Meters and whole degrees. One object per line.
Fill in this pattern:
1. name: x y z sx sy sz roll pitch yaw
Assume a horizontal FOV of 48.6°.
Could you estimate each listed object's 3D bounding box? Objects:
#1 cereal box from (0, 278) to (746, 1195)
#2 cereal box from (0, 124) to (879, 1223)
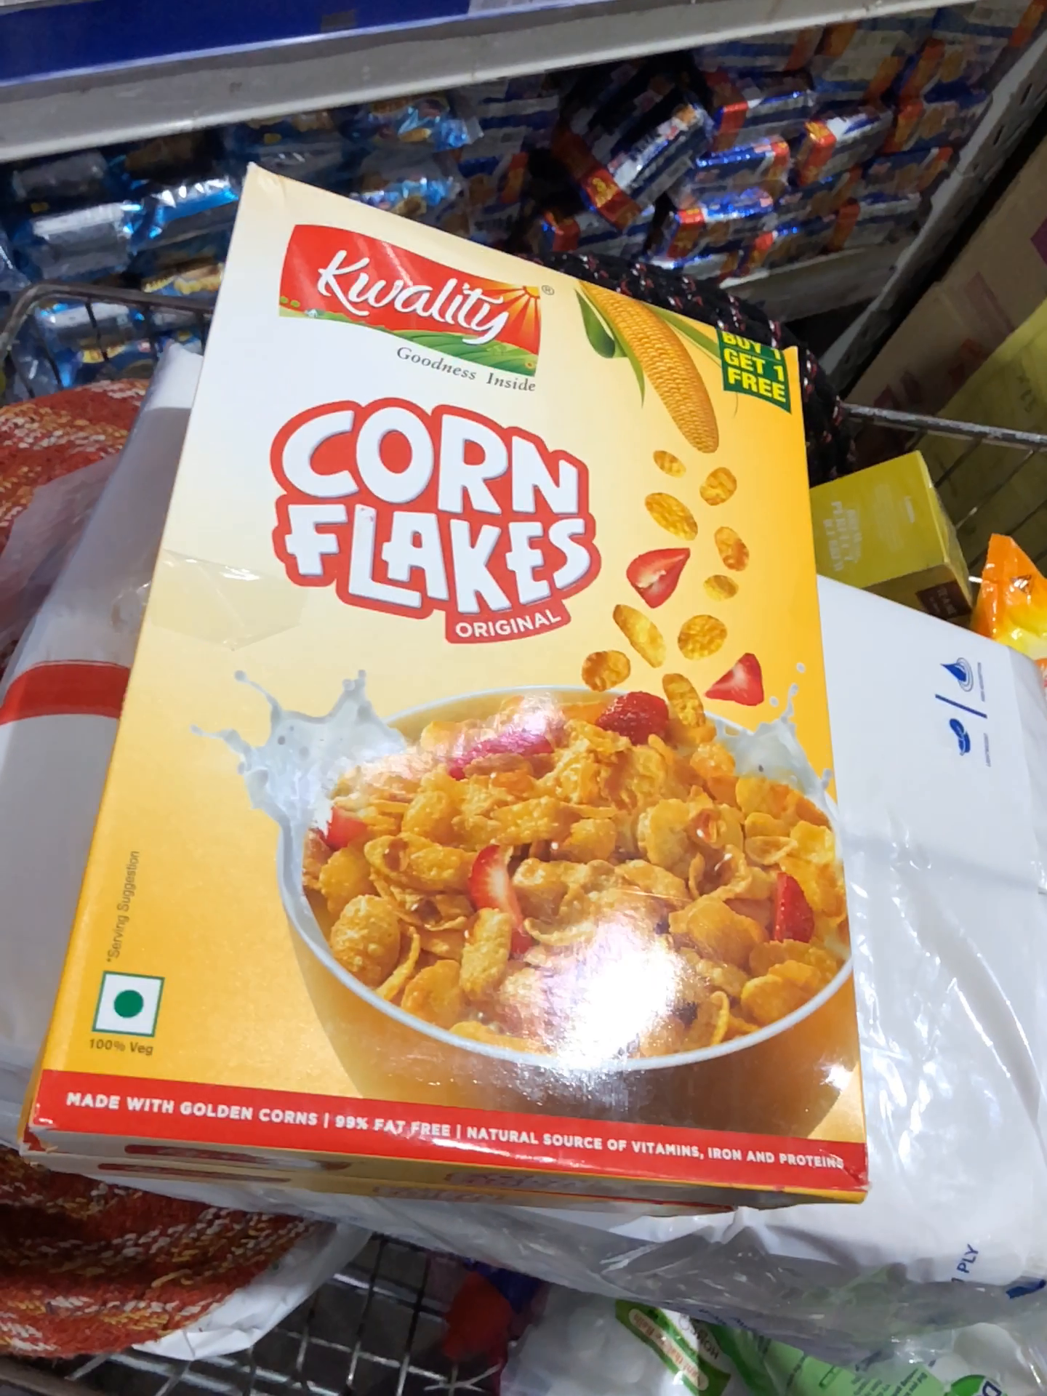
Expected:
1. cereal box: -0.037 0.014 0.378 0.200 0.070 0.261 11 64 -17
2. cereal box: -0.014 -0.008 0.311 0.190 0.060 0.261 11 64 -17
